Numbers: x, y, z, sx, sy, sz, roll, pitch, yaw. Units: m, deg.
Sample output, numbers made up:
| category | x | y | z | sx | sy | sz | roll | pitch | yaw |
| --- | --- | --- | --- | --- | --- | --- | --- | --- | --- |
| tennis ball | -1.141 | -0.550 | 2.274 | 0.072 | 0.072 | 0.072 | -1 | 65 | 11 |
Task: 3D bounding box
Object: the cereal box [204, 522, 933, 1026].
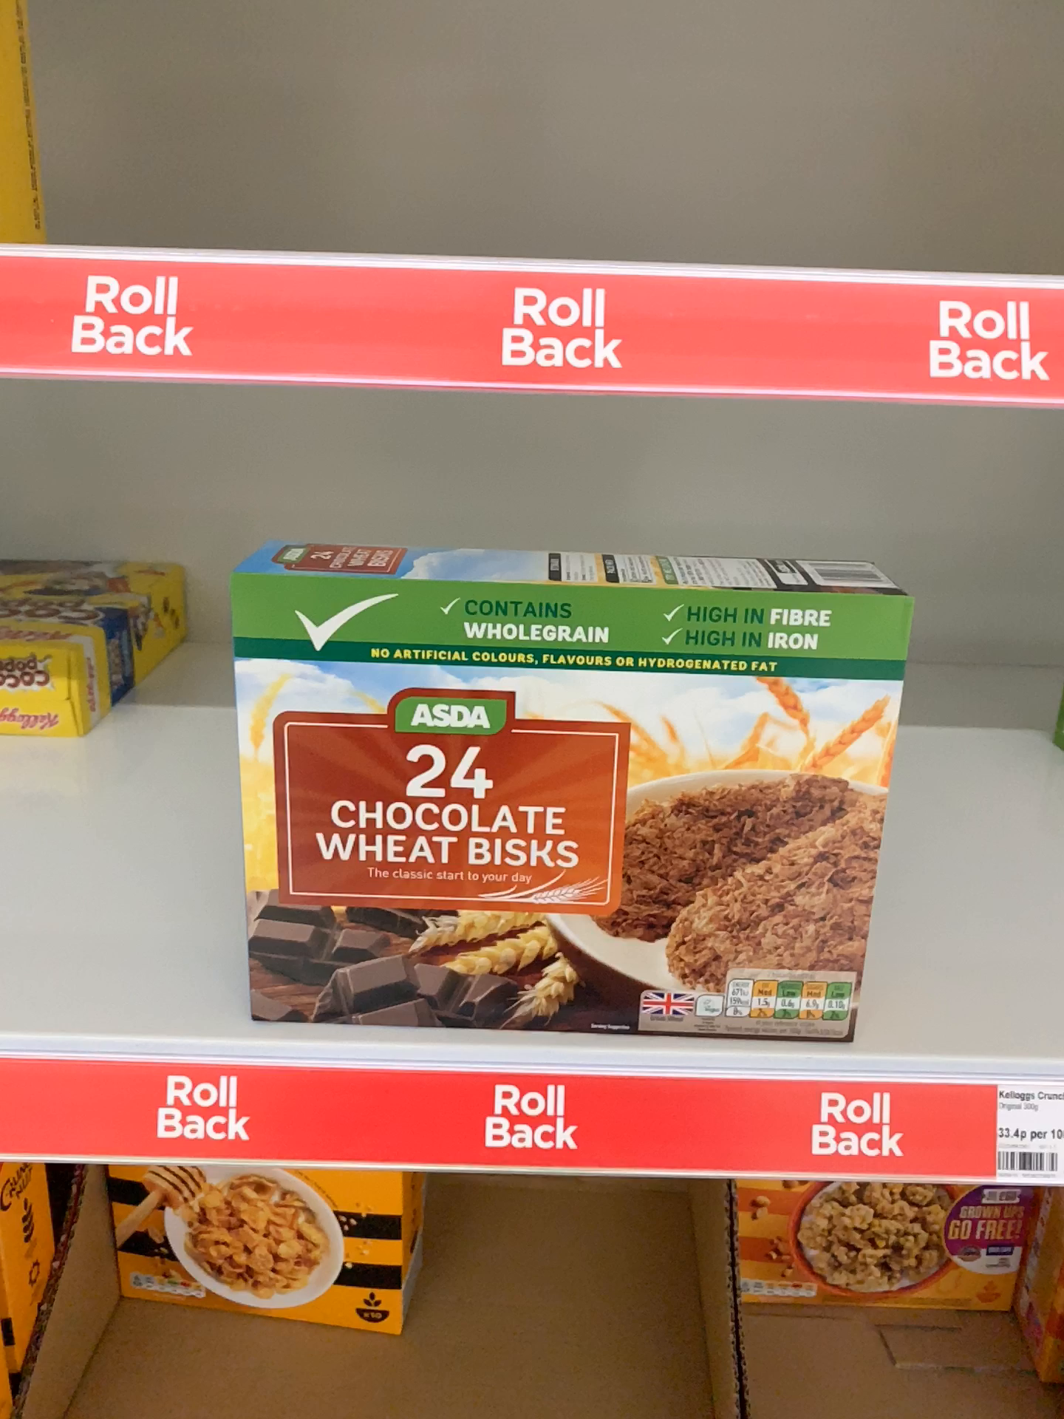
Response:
| category | x | y | z | sx | sy | sz | roll | pitch | yaw |
| --- | --- | --- | --- | --- | --- | --- | --- | --- | --- |
| cereal box | 0.010 | 0.025 | 0.439 | 0.250 | 0.179 | 0.071 | 2 | 20 | 0 |
